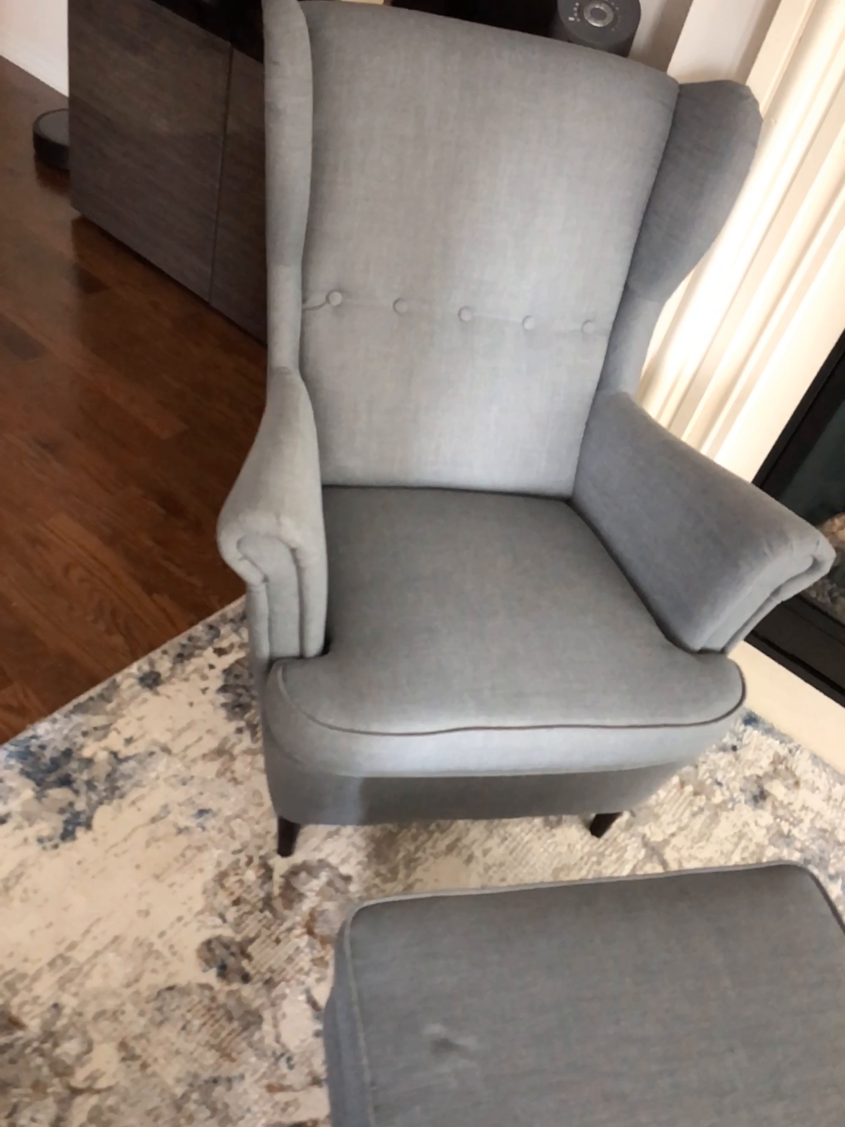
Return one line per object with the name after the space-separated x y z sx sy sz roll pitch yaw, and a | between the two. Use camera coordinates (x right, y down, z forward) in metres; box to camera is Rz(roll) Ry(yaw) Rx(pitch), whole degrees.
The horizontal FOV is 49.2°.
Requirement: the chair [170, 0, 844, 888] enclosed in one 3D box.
0.065 -0.189 1.367 0.801 0.966 0.853 1 44 -17 | chair
